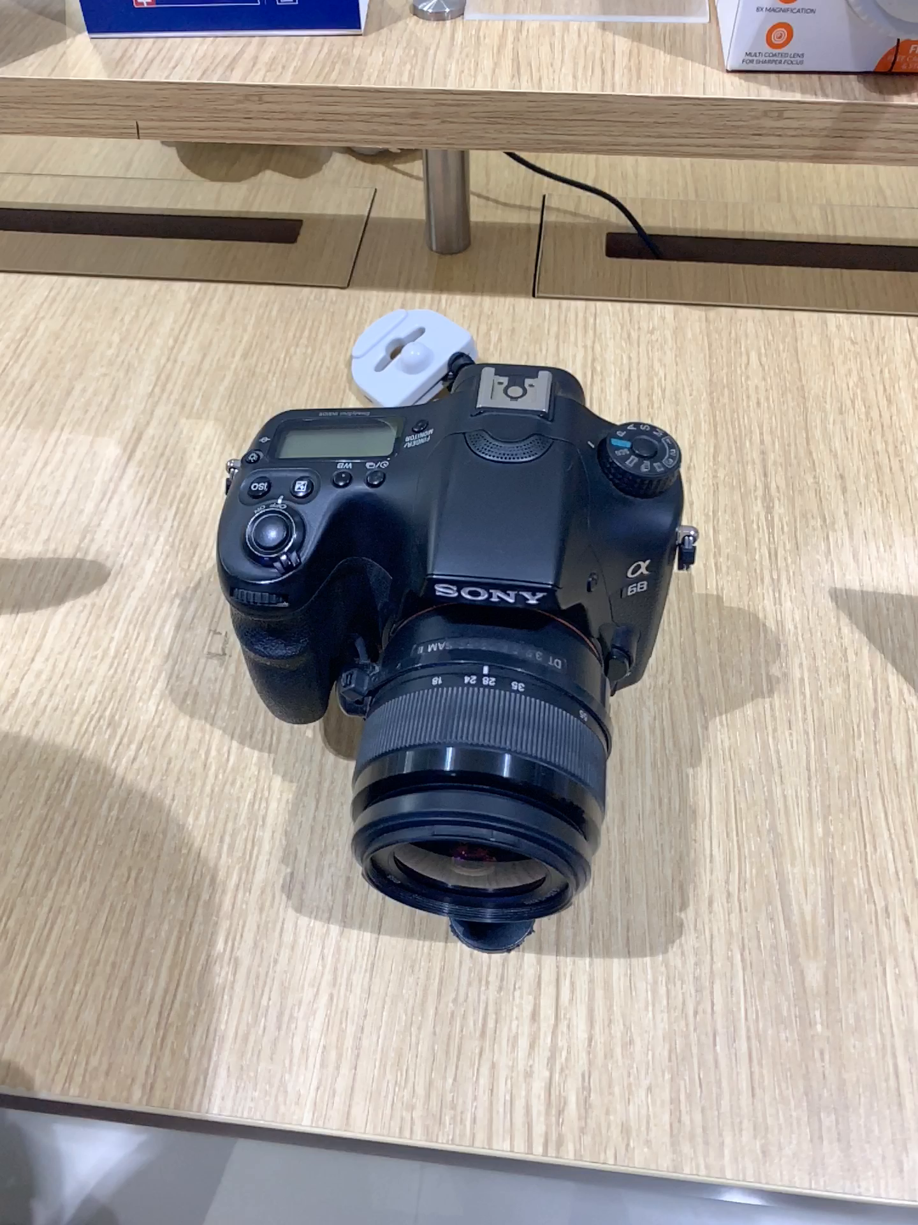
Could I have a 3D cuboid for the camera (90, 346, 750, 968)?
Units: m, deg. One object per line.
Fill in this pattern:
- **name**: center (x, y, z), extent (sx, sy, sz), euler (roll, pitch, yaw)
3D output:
- **camera**: center (-0.002, 0.011, 0.264), extent (0.130, 0.100, 0.135), euler (3, 54, 4)
